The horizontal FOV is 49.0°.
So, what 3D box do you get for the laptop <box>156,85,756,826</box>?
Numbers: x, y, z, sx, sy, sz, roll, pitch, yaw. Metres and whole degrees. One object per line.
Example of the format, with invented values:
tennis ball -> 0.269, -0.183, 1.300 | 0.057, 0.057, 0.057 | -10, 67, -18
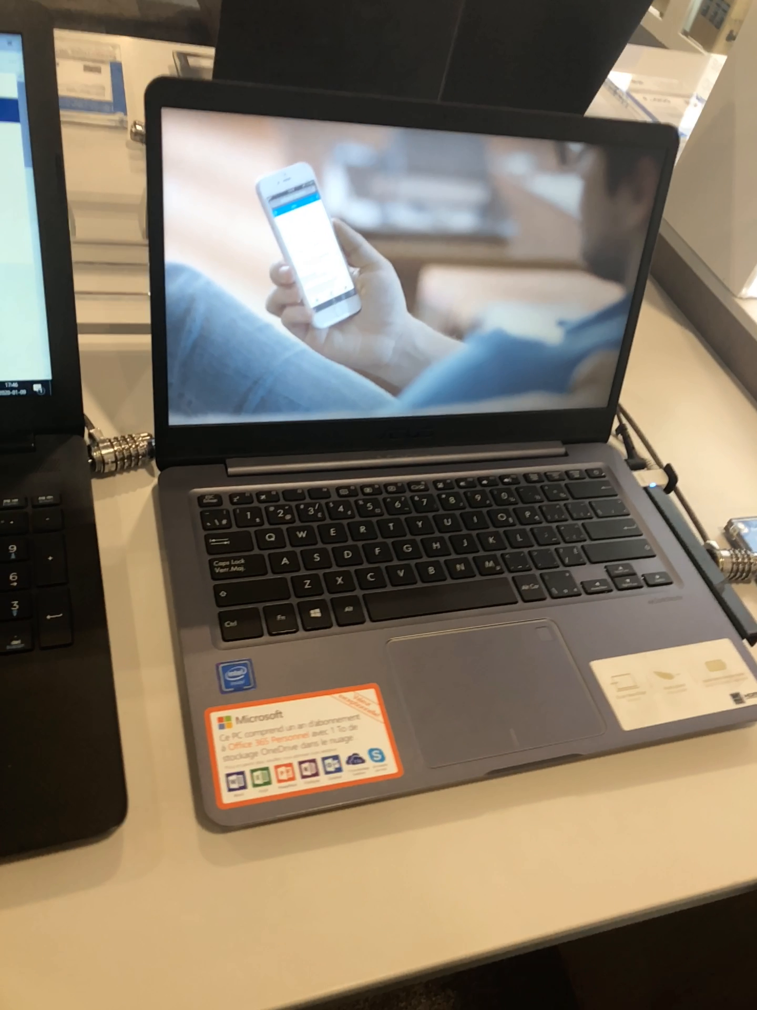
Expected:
laptop -> 0.059, -0.047, 0.441 | 0.316, 0.196, 0.292 | -4, 49, -19
